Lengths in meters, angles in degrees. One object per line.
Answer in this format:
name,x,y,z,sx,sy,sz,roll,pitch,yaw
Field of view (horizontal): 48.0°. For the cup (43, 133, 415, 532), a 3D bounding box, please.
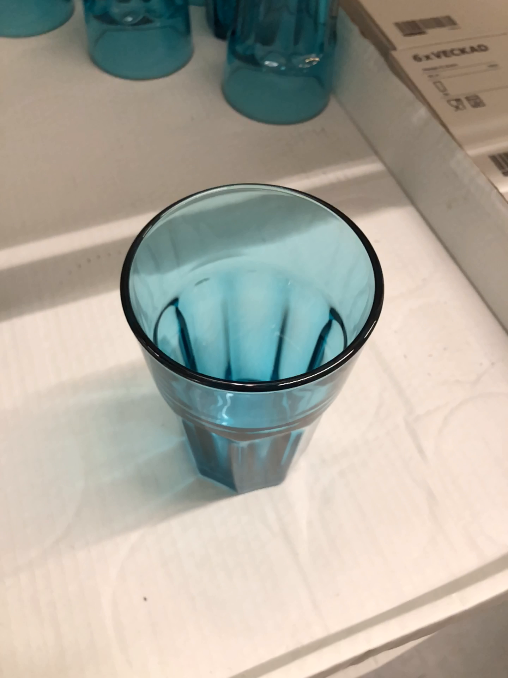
cup,-0.015,0.001,0.215,0.089,0.102,0.092,2,58,-3
